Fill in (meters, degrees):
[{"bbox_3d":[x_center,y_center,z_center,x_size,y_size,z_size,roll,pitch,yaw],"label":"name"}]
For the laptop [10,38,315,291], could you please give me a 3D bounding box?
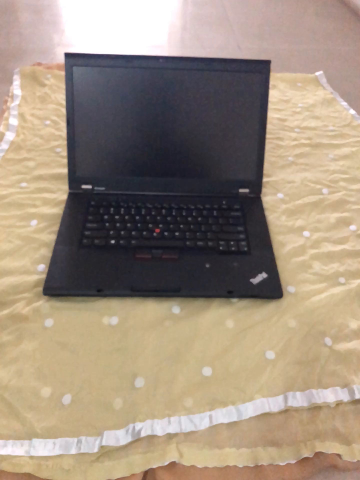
[{"bbox_3d":[-0.024,-0.139,0.669,0.363,0.191,0.382,1,50,-2],"label":"laptop"}]
